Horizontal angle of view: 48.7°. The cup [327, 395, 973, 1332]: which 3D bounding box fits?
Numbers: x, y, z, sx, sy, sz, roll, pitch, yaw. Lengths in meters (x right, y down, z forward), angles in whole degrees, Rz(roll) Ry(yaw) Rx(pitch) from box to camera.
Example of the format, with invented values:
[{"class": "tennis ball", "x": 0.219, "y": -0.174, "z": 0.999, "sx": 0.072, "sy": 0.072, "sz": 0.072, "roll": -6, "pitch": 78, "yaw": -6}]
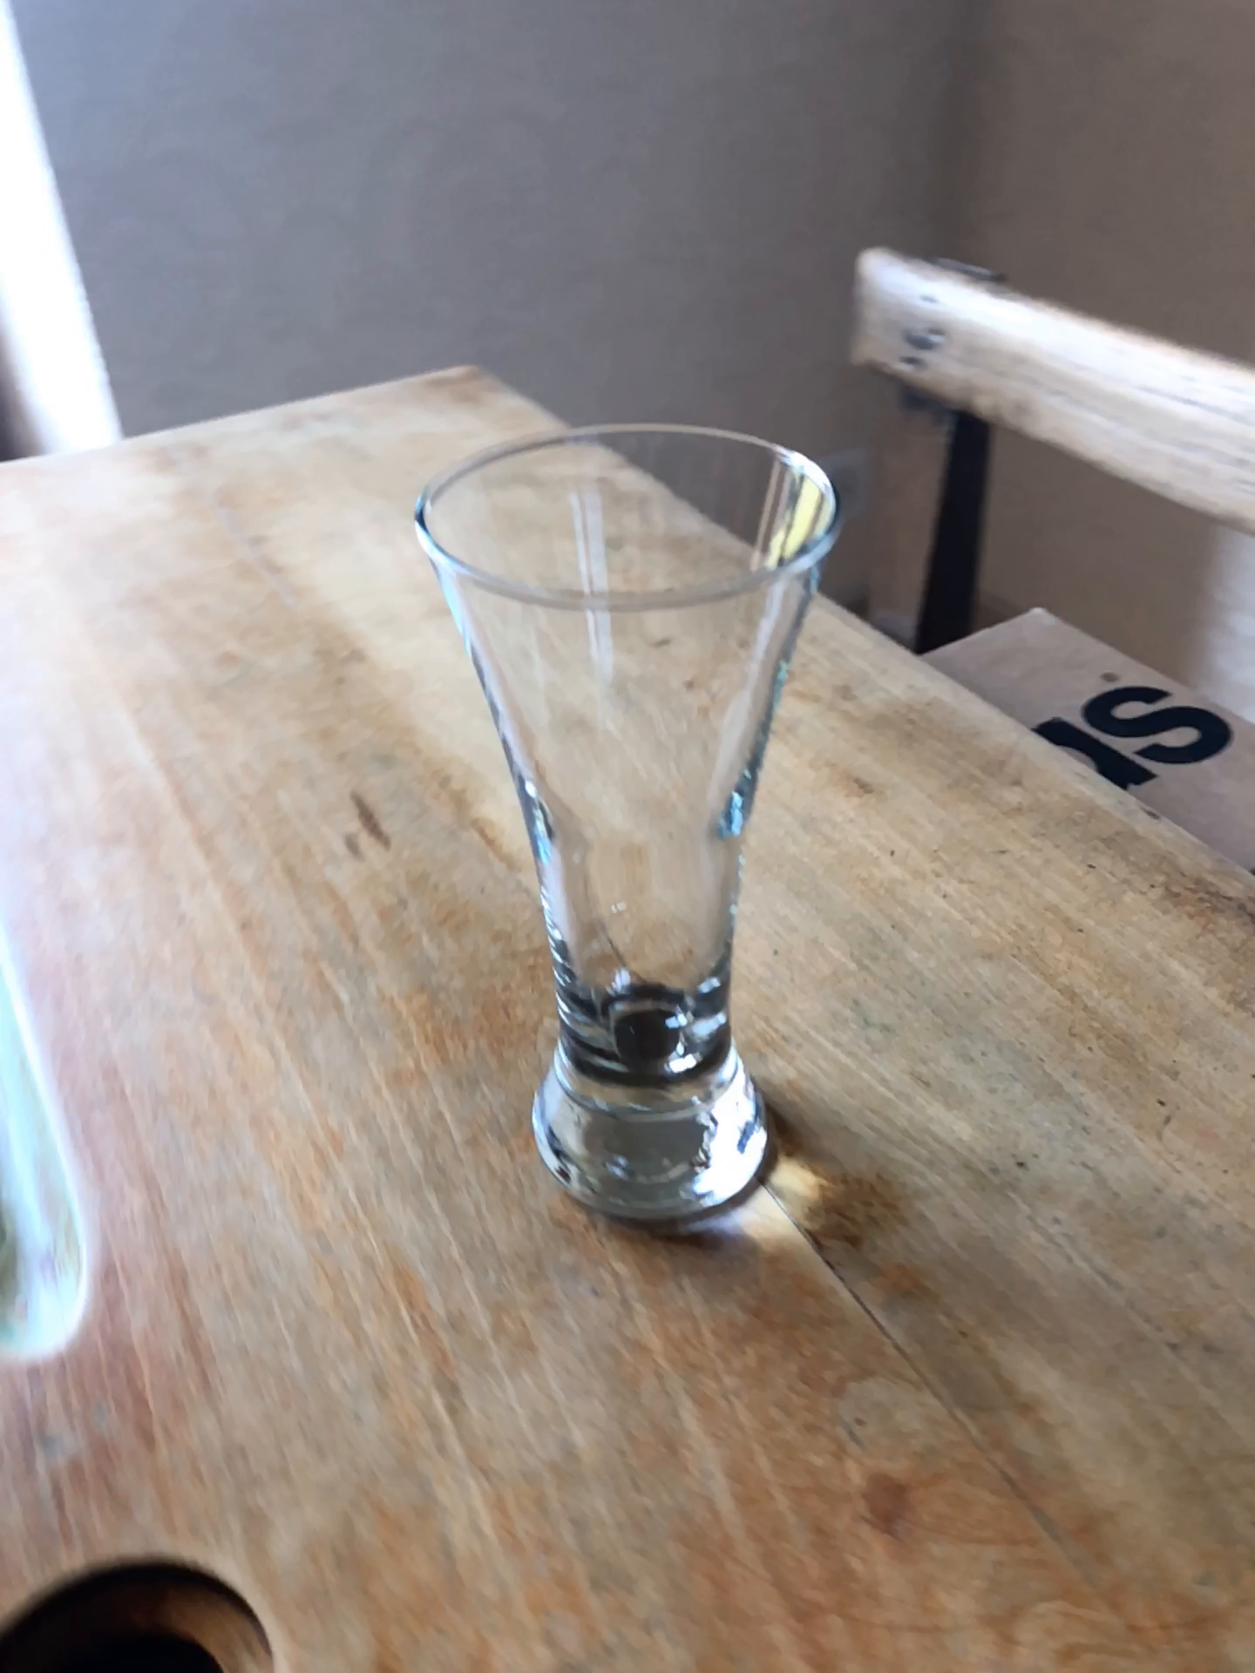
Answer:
[{"class": "cup", "x": 0.010, "y": 0.007, "z": 0.261, "sx": 0.080, "sy": 0.149, "sz": 0.070, "roll": 12, "pitch": 39, "yaw": 20}]
